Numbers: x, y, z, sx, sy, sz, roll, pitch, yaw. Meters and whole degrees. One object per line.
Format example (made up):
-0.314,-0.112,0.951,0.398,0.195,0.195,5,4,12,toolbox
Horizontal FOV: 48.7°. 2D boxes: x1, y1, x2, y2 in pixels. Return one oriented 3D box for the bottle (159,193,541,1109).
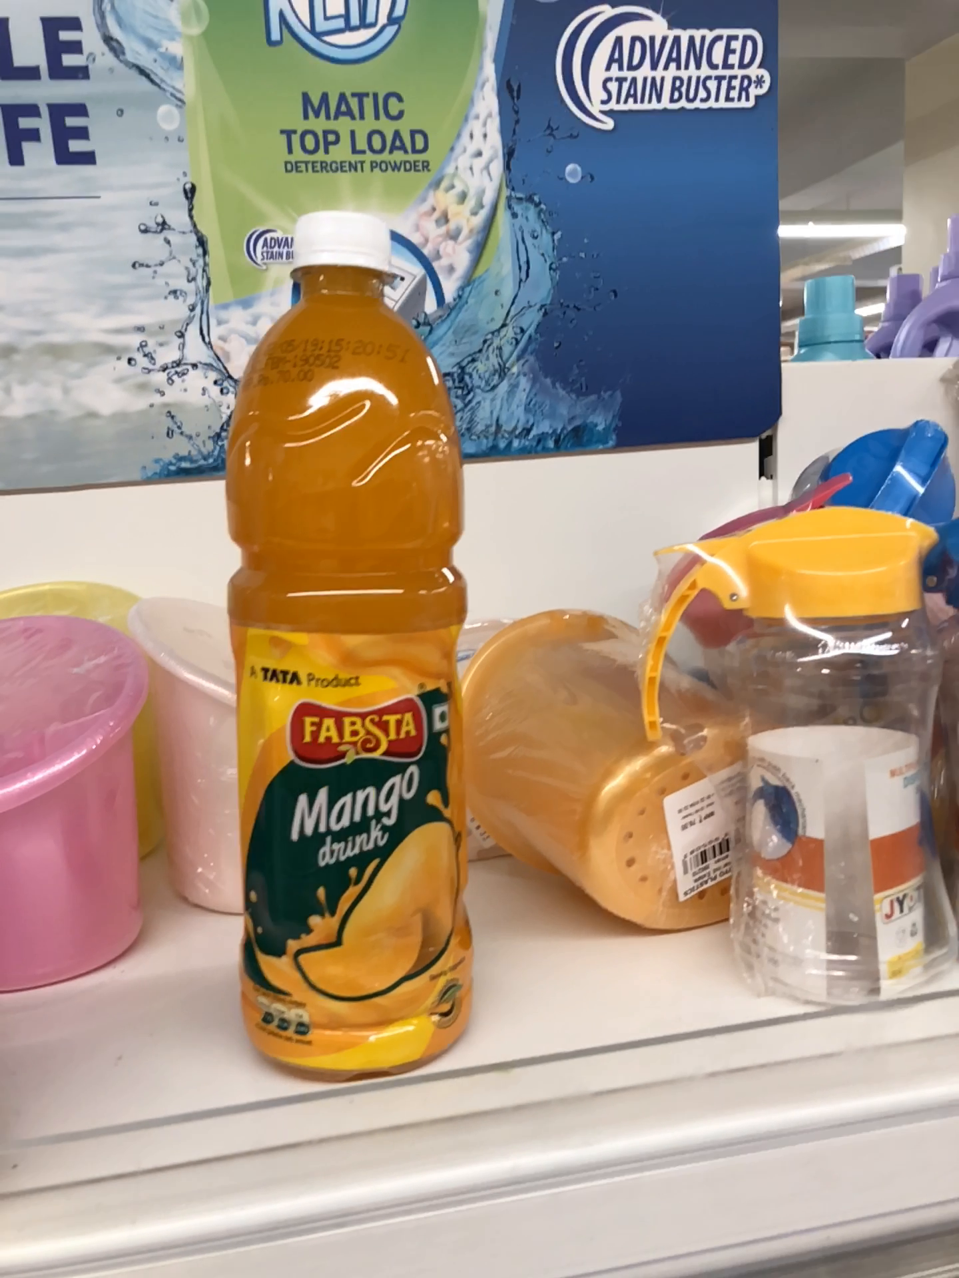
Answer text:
-0.042,0.001,0.345,0.090,0.259,0.080,-6,9,-15,bottle
